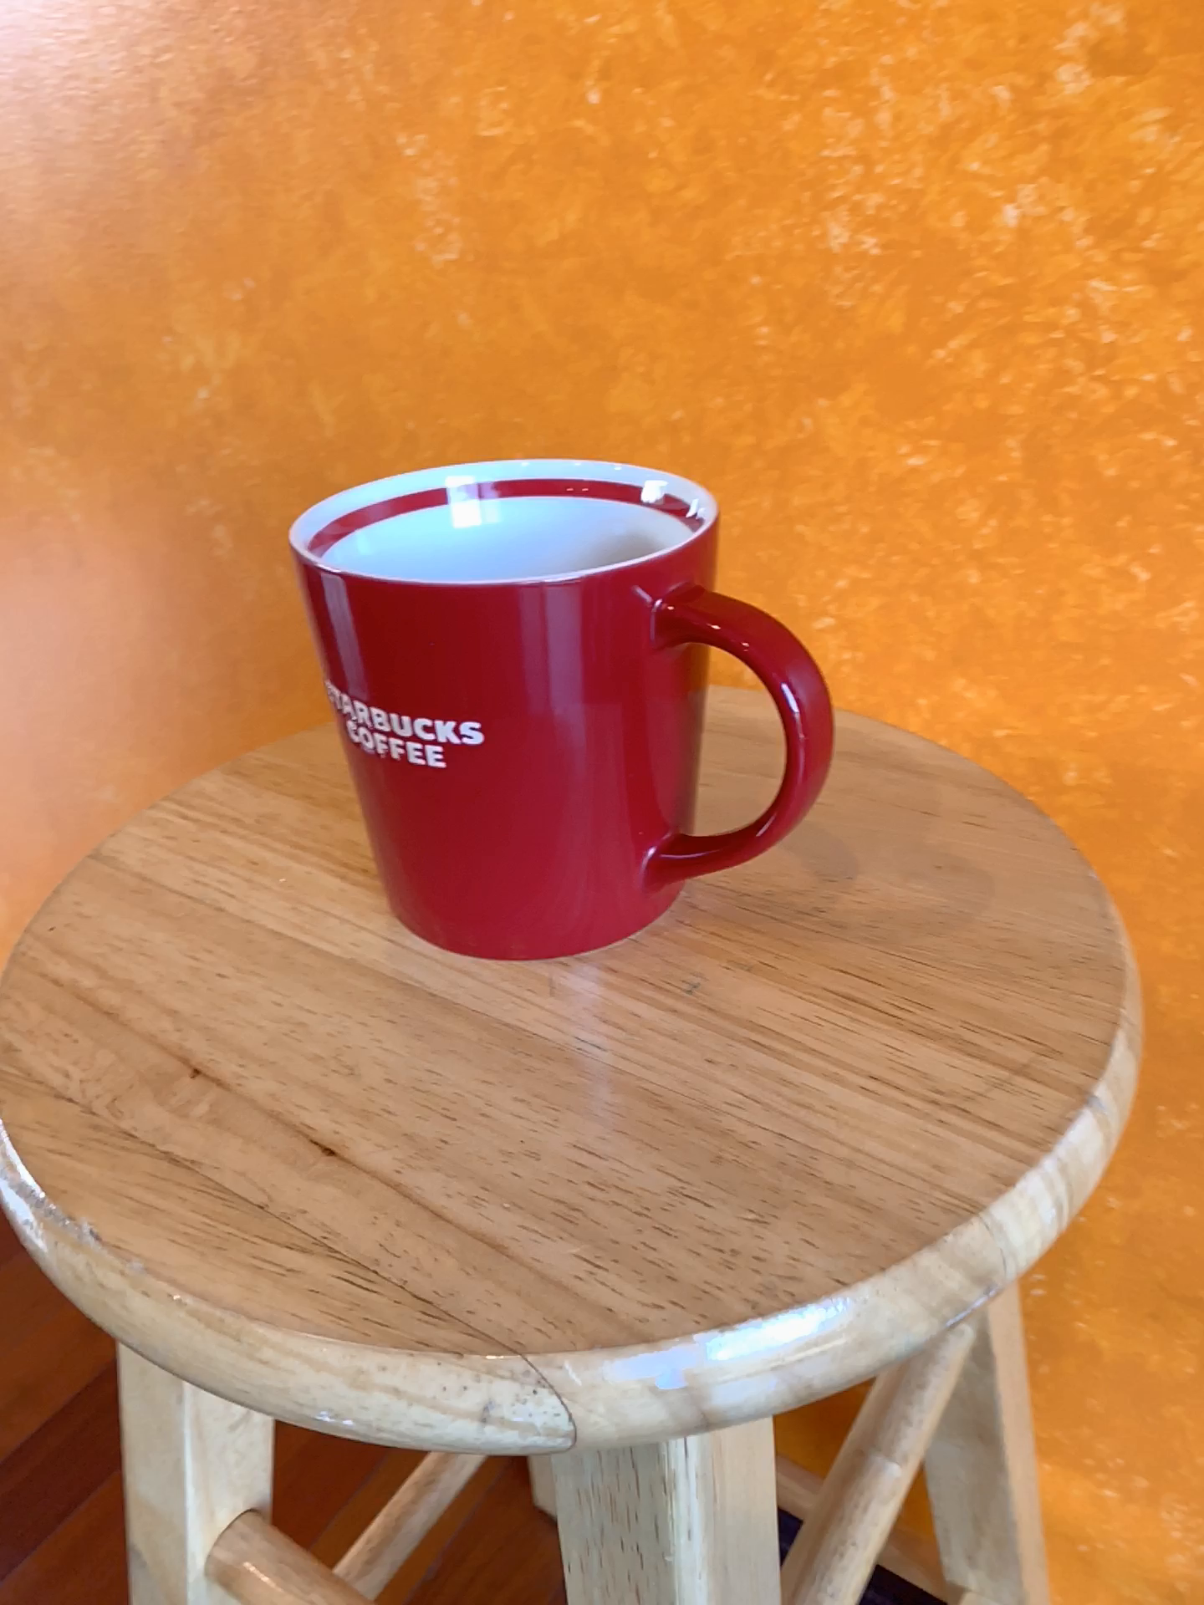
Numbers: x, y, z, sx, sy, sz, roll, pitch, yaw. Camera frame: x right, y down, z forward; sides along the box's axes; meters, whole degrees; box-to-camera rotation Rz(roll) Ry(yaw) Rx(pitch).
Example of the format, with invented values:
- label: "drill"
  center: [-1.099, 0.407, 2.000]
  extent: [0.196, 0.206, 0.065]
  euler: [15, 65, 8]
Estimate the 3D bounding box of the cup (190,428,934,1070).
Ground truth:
- label: "cup"
  center: [-0.008, -0.026, 0.311]
  extent: [0.140, 0.099, 0.100]
  euler: [17, 35, 33]
